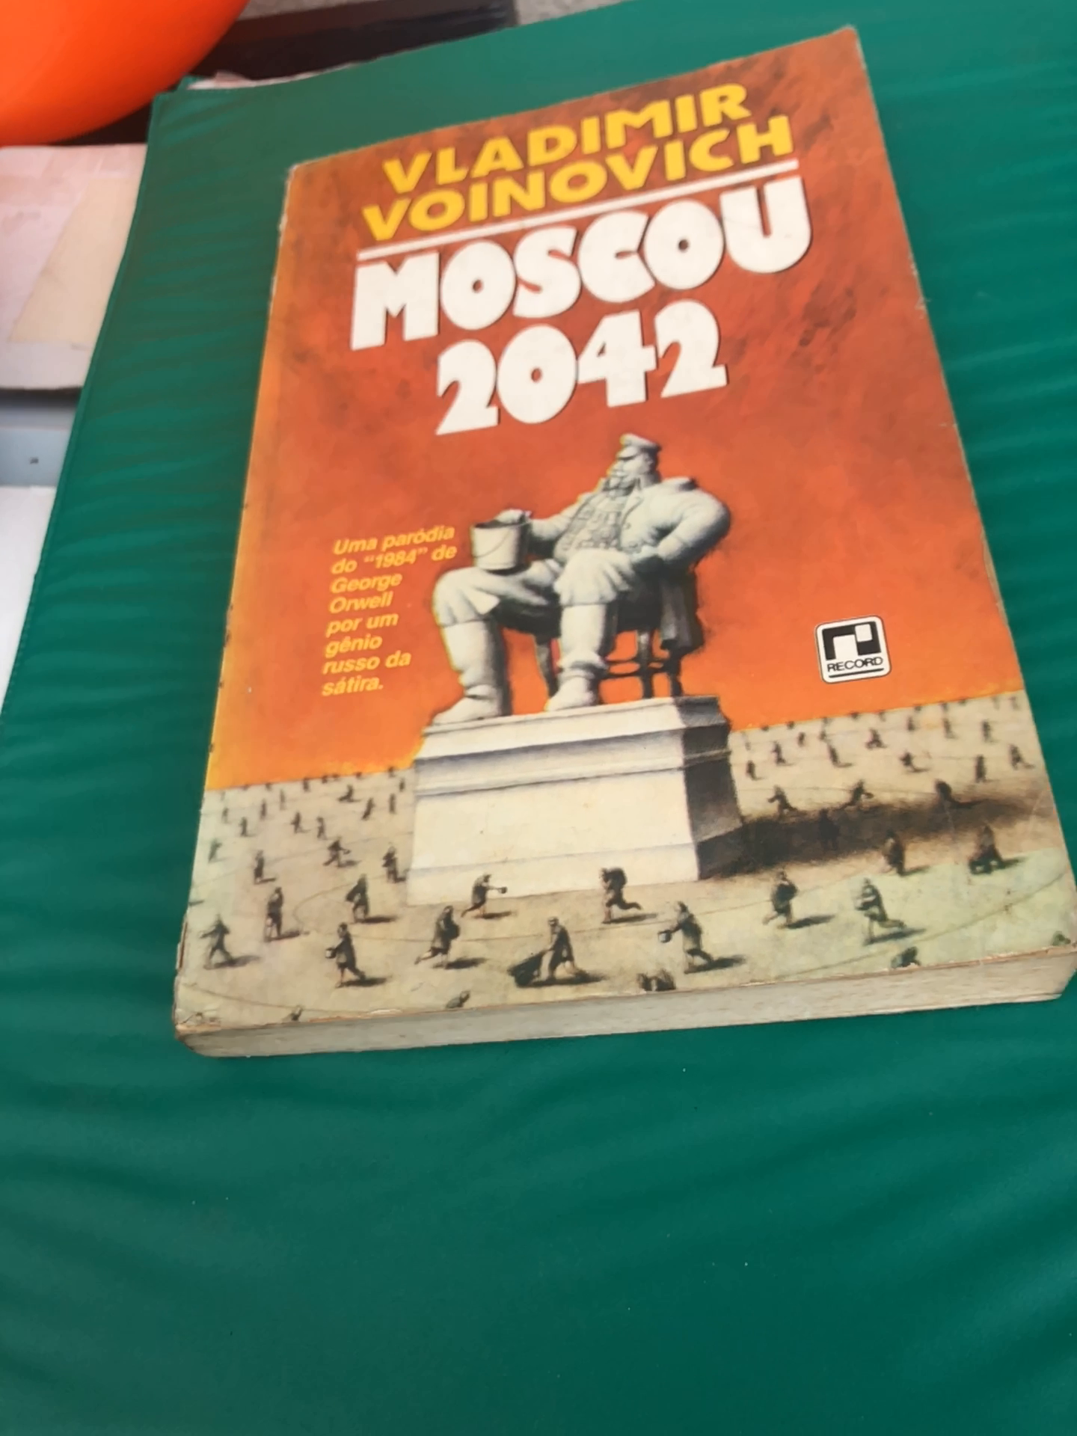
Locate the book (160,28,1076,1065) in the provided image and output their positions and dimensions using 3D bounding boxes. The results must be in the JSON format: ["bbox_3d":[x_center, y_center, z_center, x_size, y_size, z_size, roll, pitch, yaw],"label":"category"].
[{"bbox_3d":[0.009,-0.045,0.226,0.132,0.020,0.204,-7,60,10],"label":"book"}]
